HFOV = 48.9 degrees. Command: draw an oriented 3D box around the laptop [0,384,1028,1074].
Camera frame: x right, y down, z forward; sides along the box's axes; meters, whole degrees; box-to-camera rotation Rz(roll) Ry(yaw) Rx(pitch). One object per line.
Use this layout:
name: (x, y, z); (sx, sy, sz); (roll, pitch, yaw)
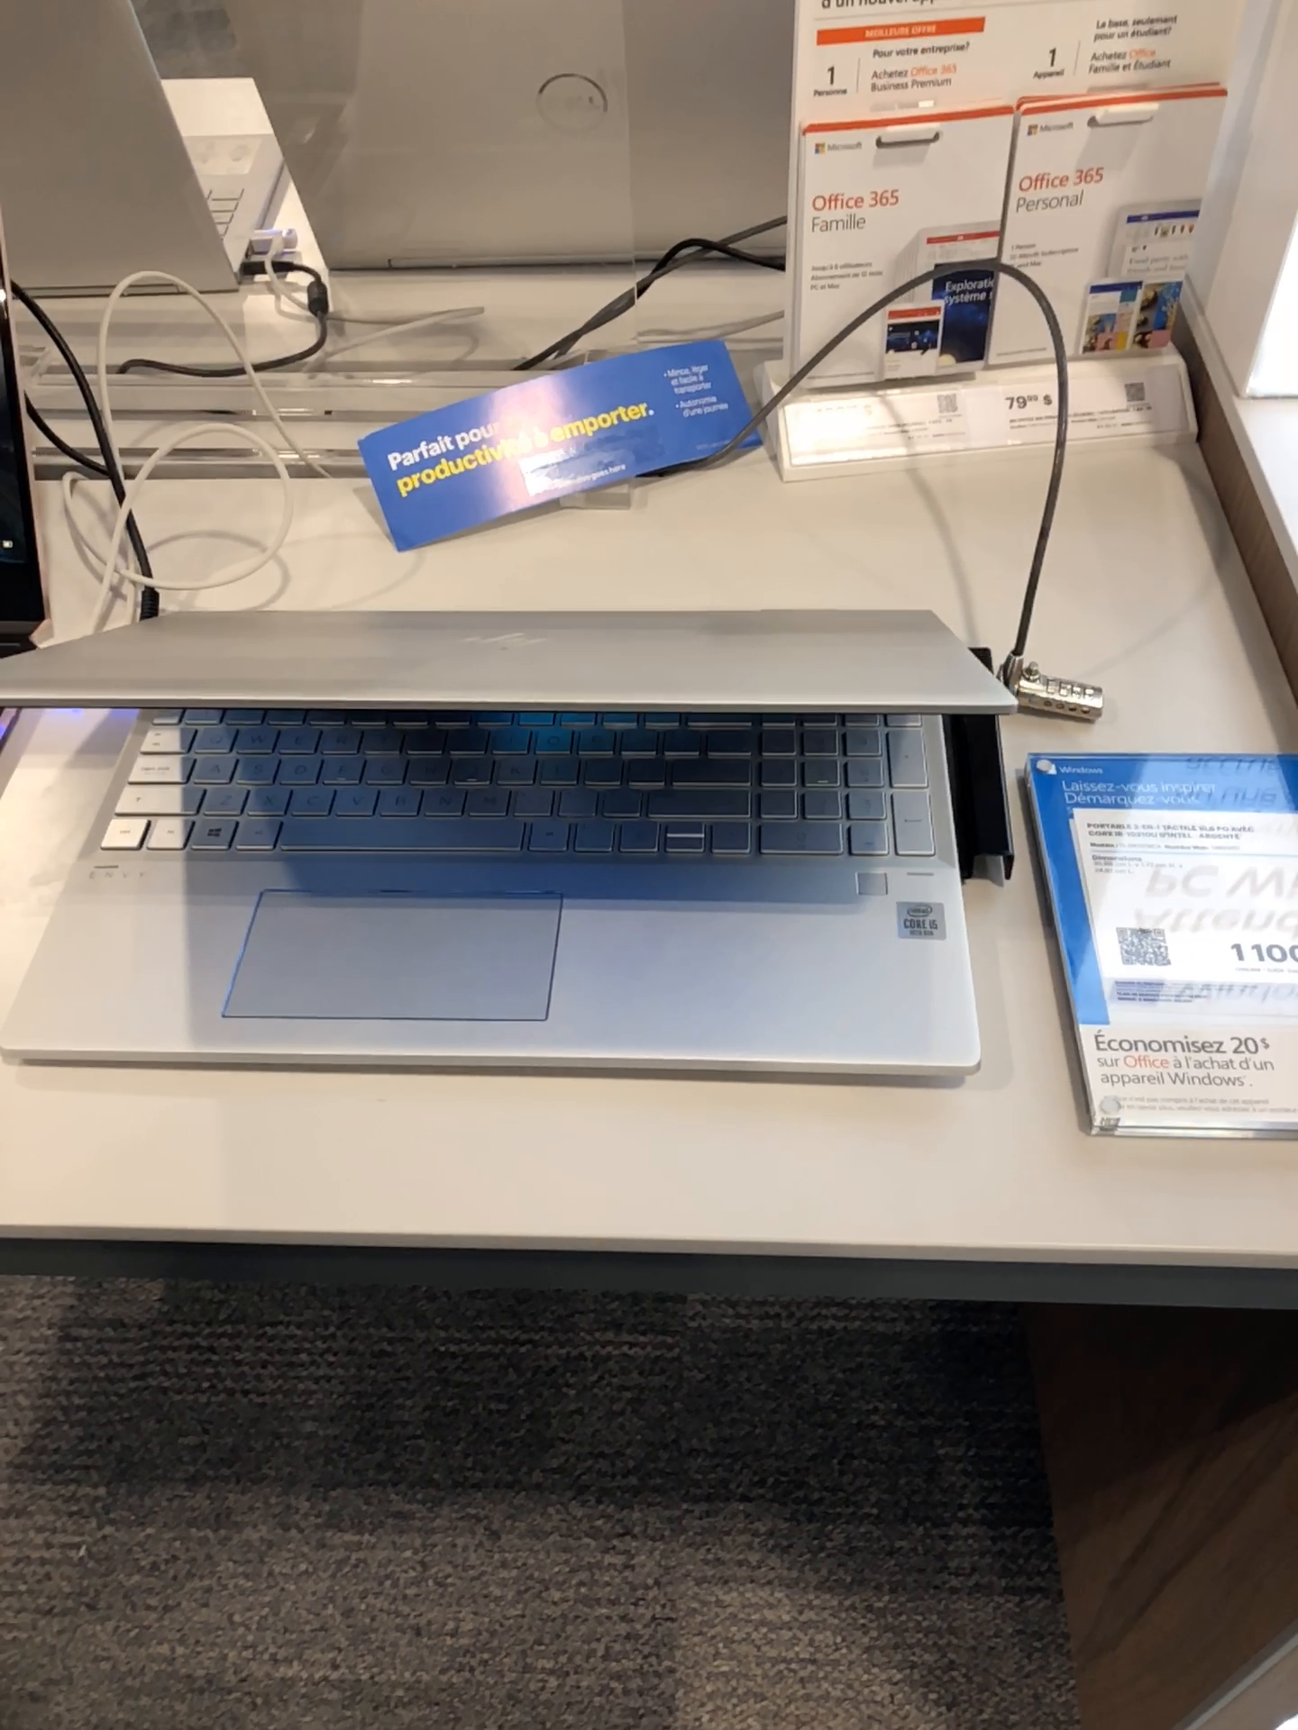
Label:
laptop: (-0.059, -0.060, 0.529); (0.346, 0.116, 0.230); (1, 50, 6)
